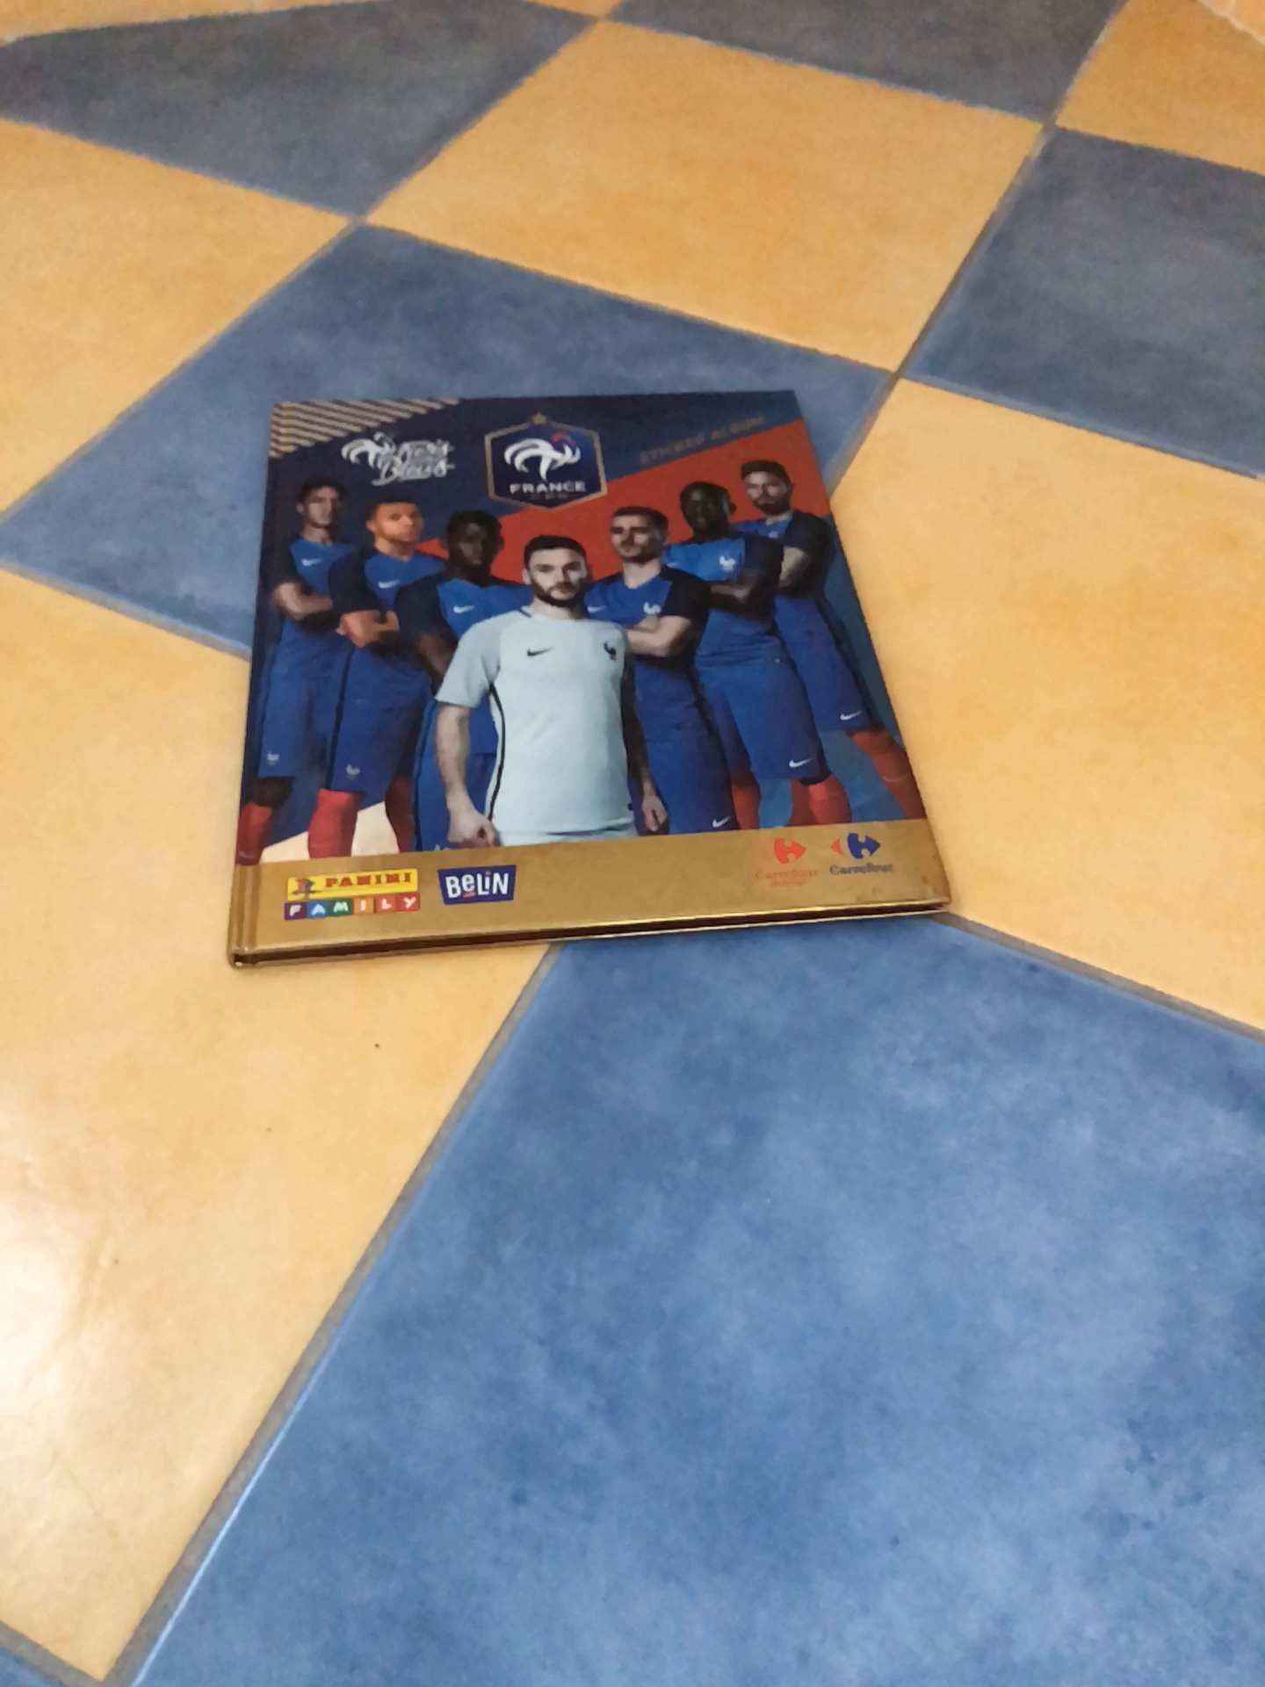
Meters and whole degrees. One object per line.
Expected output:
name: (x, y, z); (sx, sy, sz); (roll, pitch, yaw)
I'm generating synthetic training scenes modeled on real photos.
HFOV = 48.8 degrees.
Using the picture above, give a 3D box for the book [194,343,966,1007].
book: (-0.032, -0.090, 0.543); (0.240, 0.030, 0.322); (-4, 51, -6)
